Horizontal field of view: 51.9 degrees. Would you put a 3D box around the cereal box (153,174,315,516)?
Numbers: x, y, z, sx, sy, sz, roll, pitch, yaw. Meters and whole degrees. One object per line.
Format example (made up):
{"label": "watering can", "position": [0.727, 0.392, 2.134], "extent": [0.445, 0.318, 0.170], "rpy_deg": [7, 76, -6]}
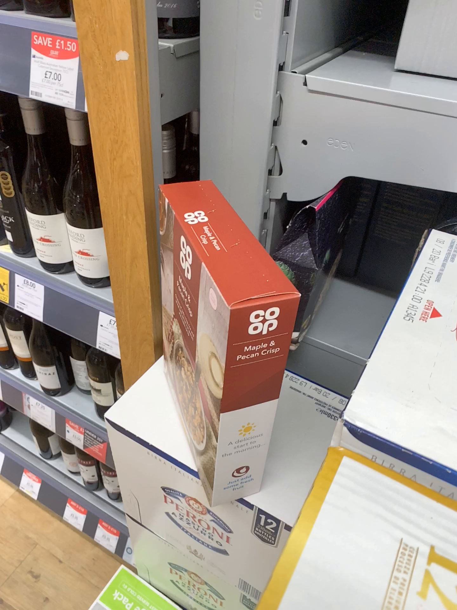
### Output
{"label": "cereal box", "position": [-0.014, 0.038, 0.430], "extent": [0.060, 0.247, 0.182], "rpy_deg": [-10, 42, -19]}
